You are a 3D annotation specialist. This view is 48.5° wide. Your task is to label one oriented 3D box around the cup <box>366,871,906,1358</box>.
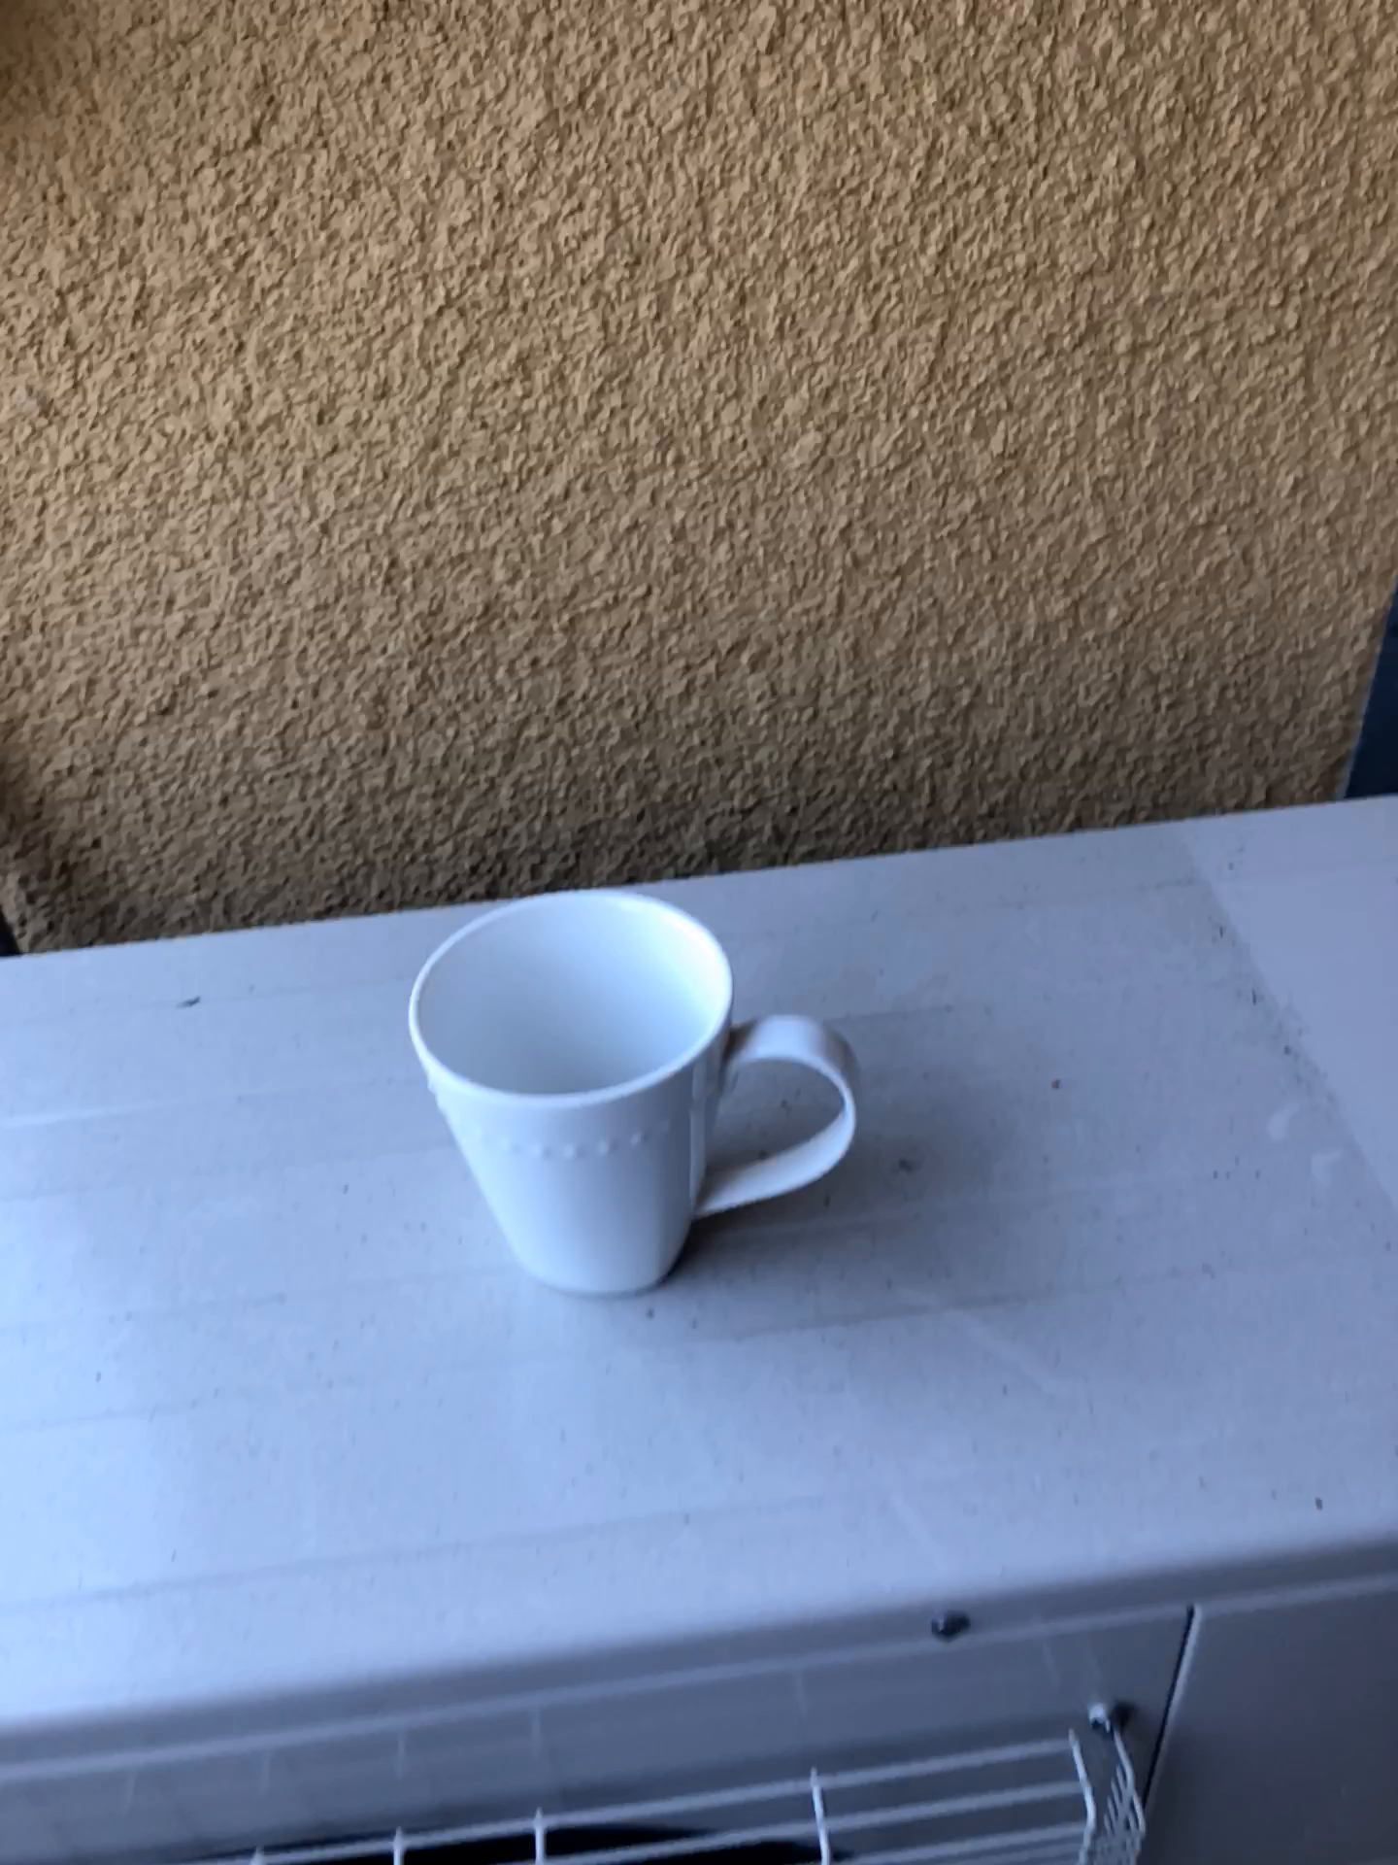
[{"bbox_3d":[-0.011,0.053,0.469,0.140,0.100,0.100,1,38,5],"label":"cup"}]
